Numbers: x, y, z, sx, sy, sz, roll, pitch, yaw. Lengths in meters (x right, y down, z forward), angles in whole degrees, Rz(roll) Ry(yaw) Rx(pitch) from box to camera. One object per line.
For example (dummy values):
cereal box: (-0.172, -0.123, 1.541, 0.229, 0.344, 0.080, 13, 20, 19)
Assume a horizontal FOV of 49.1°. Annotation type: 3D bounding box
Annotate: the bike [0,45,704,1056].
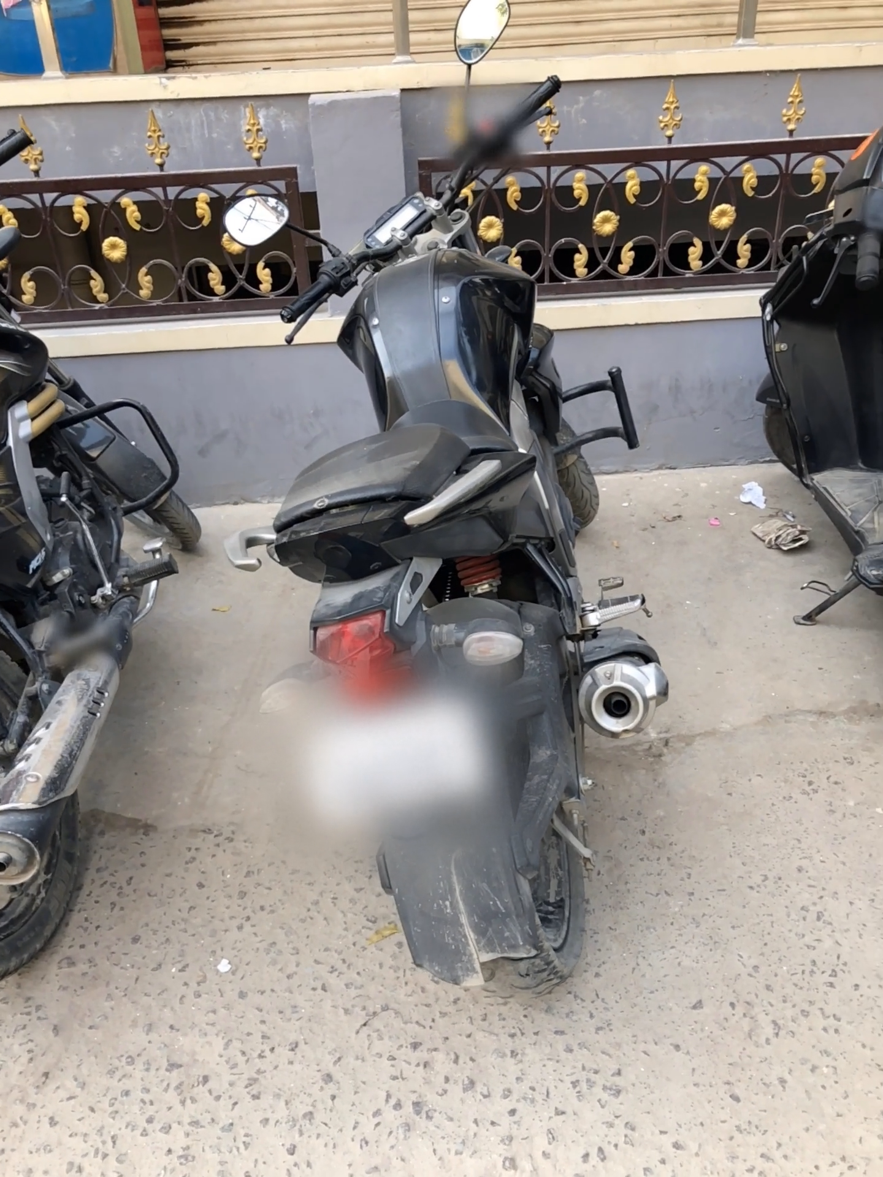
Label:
bike: (-0.126, -0.307, 1.893, 0.692, 1.197, 1.767, -2, 32, 1)
